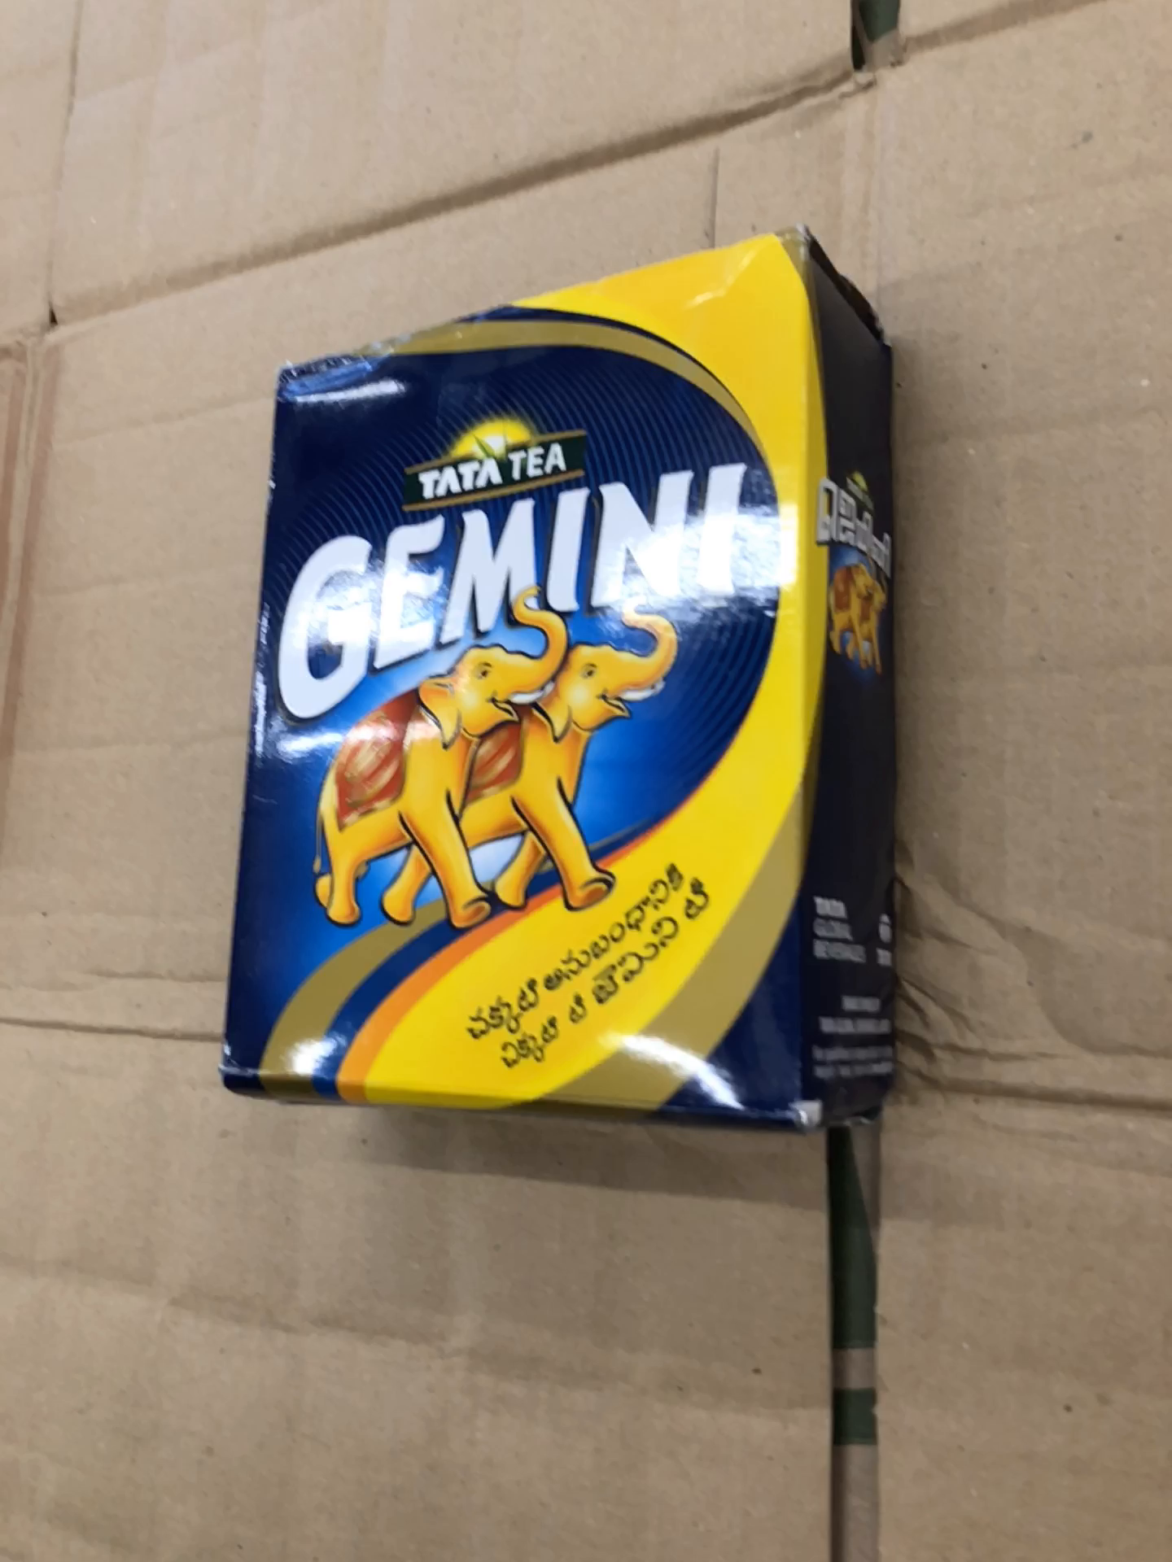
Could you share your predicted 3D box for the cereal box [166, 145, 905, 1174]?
[{"bbox_3d":[-0.013,-0.017,0.266,0.140,0.050,0.170,-4,81,30],"label":"cereal box"}]
